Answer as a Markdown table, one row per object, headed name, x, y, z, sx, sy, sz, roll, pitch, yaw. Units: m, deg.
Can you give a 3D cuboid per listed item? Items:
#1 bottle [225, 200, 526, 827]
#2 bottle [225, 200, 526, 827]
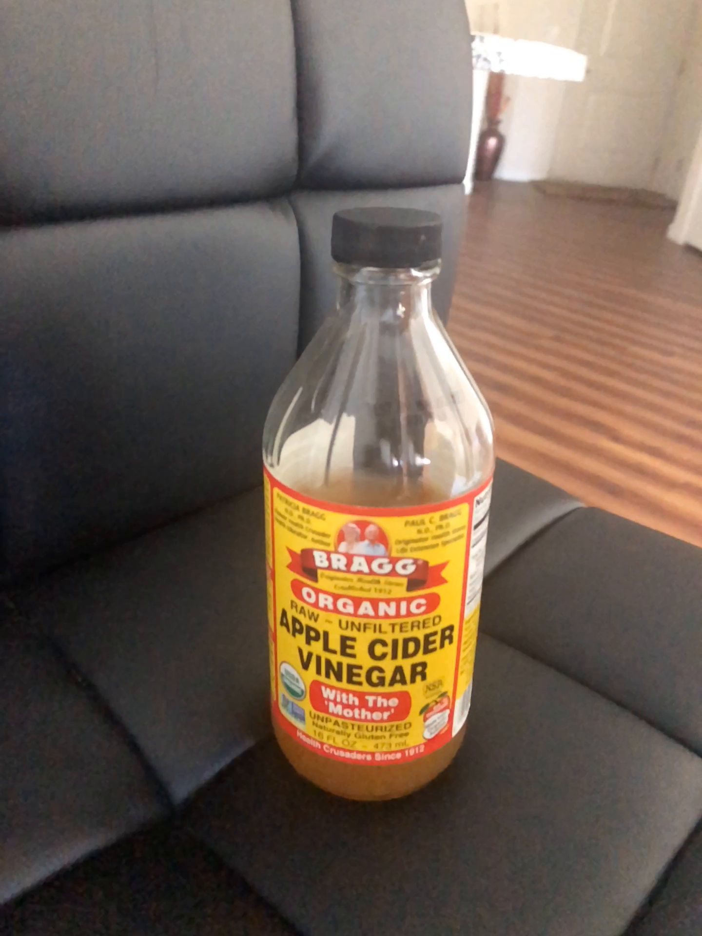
| name | x | y | z | sx | sy | sz | roll | pitch | yaw |
| --- | --- | --- | --- | --- | --- | --- | --- | --- | --- |
| bottle | 0.009 | 0.014 | 0.248 | 0.070 | 0.179 | 0.070 | 1 | 24 | -1 |
| bottle | 0.009 | 0.014 | 0.248 | 0.070 | 0.179 | 0.070 | 1 | 24 | -1 |
